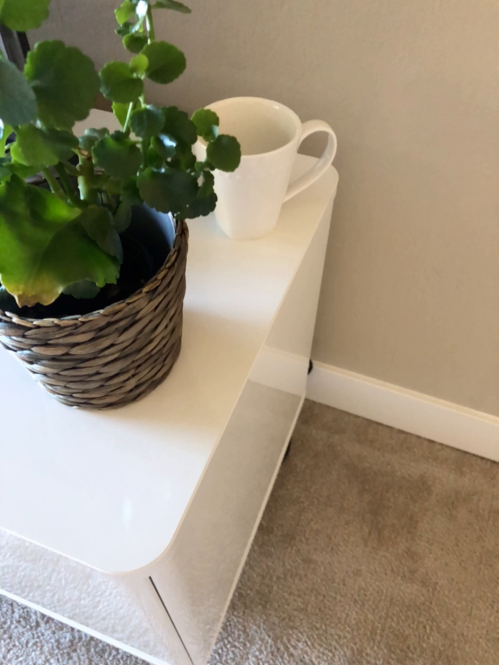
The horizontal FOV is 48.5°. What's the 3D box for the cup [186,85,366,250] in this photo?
[{"bbox_3d":[0.020,-0.150,0.499,0.130,0.090,0.090,-12,52,-10],"label":"cup"}]
